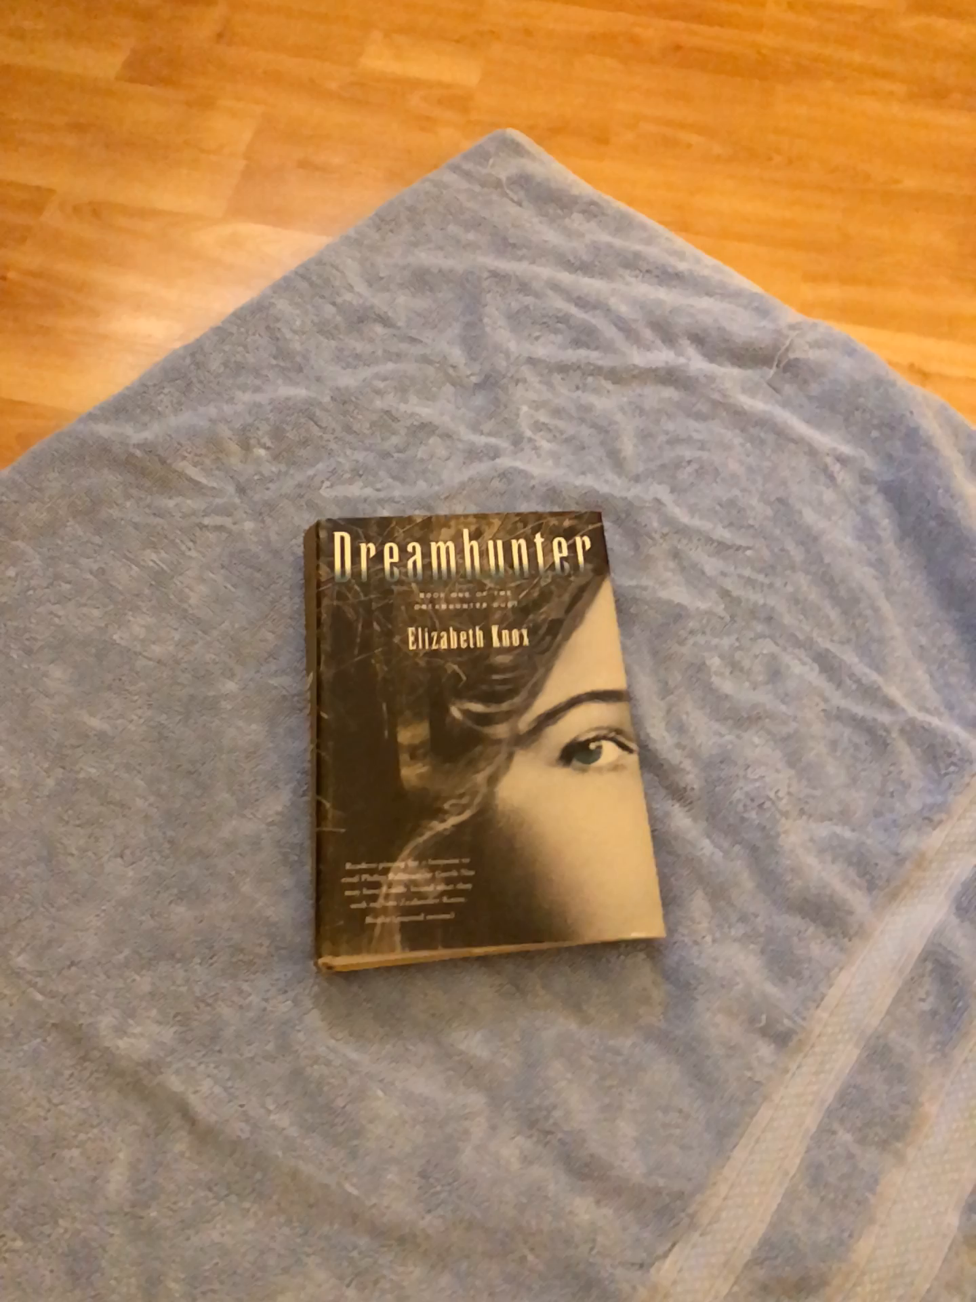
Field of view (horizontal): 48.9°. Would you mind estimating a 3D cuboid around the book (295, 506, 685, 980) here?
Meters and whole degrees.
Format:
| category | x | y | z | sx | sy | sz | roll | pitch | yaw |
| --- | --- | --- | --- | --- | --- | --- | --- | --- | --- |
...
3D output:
| category | x | y | z | sx | sy | sz | roll | pitch | yaw |
| --- | --- | --- | --- | --- | --- | --- | --- | --- | --- |
| book | -0.008 | 0.034 | 0.518 | 0.163 | 0.030 | 0.225 | -3 | 61 | -5 |
